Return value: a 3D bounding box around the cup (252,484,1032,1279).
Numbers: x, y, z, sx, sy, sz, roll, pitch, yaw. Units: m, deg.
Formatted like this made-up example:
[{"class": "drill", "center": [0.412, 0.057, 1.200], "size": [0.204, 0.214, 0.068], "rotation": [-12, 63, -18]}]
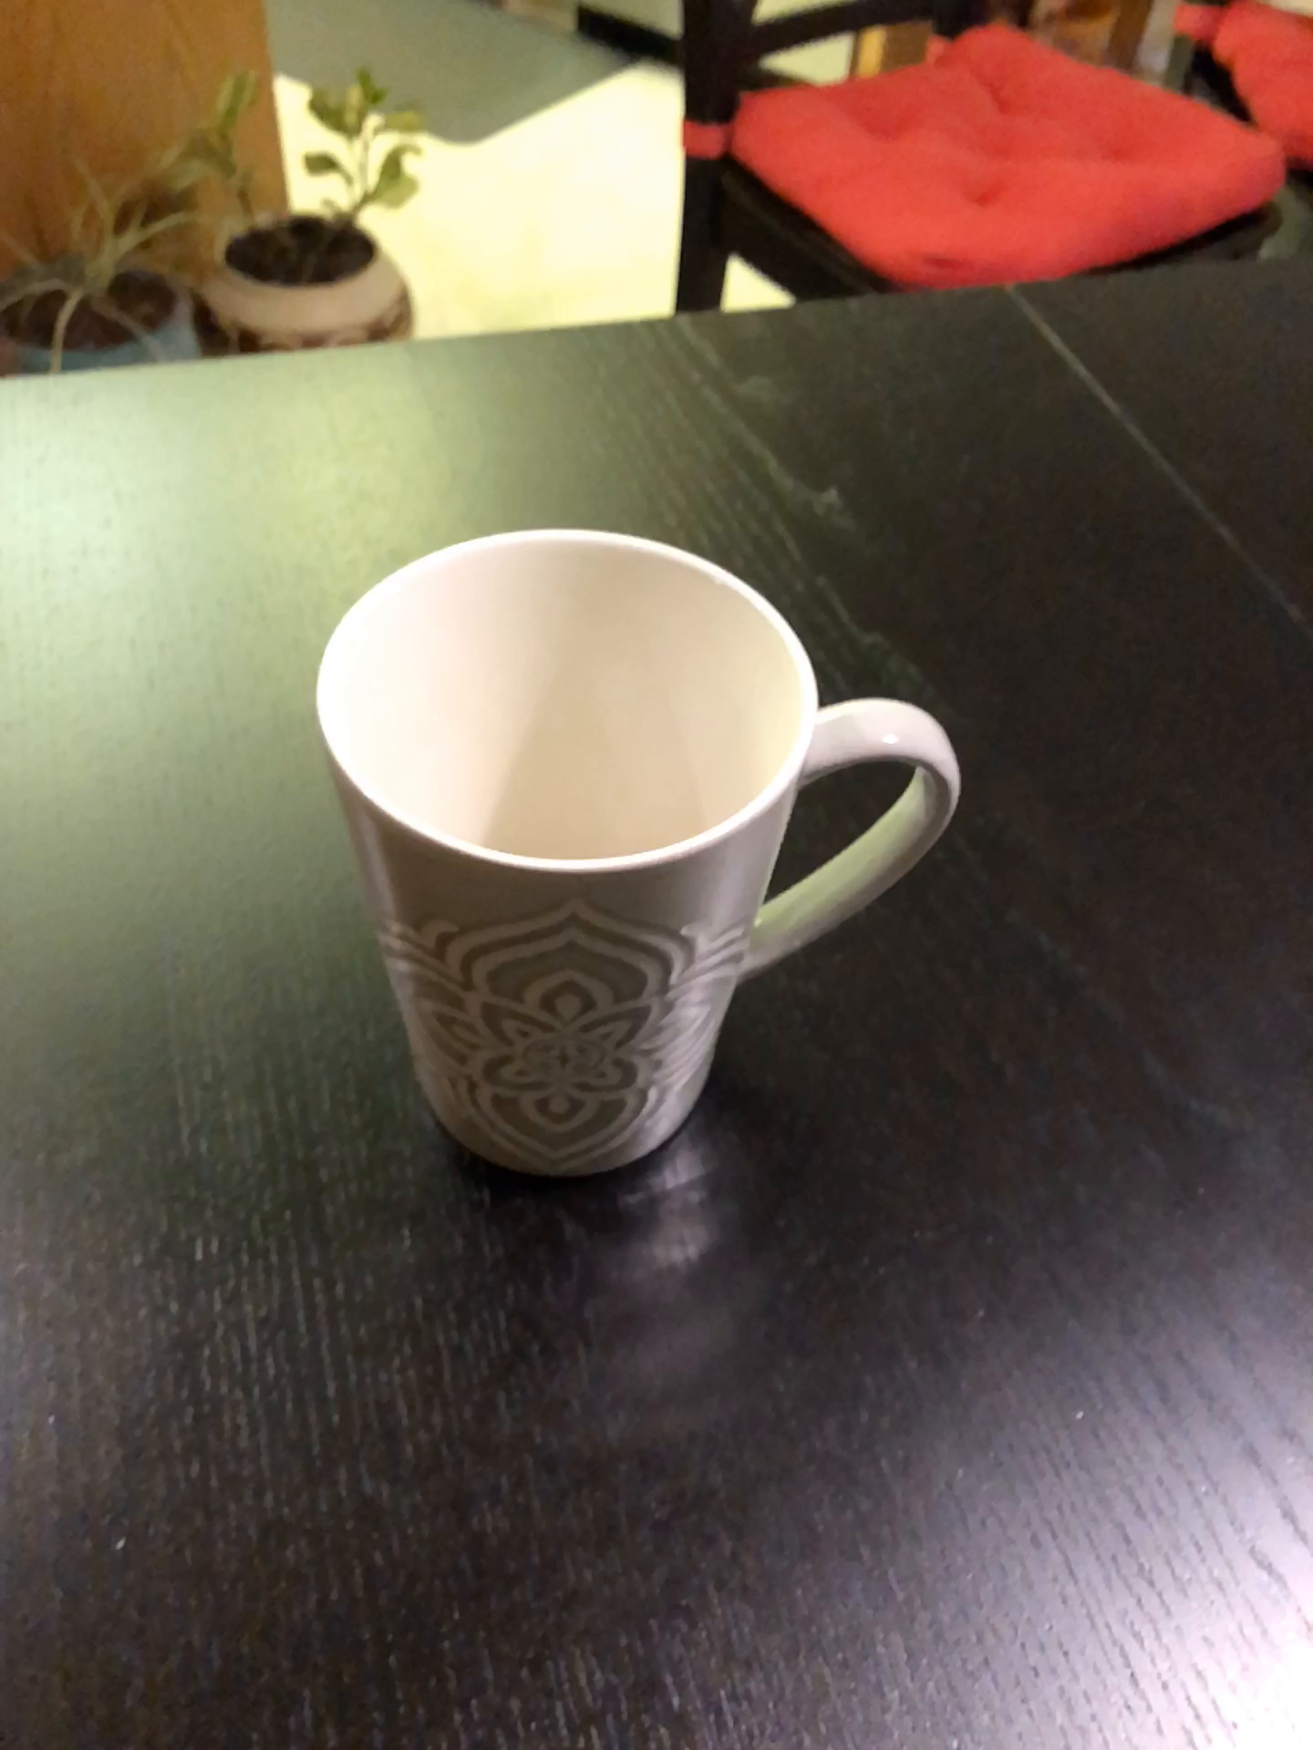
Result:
[{"class": "cup", "center": [-0.011, 0.002, 0.335], "size": [0.130, 0.129, 0.100], "rotation": [-10, 50, -13]}]
